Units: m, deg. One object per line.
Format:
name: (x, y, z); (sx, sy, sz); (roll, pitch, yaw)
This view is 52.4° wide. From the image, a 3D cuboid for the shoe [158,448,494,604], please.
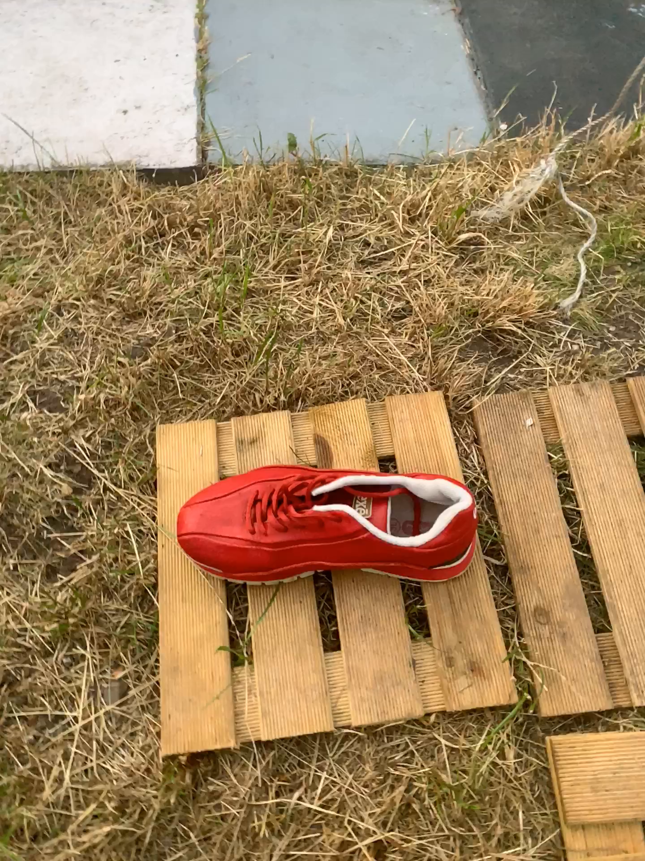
shoe: (0.007, 0.084, 0.571); (0.260, 0.100, 0.101); (1, 63, 7)
